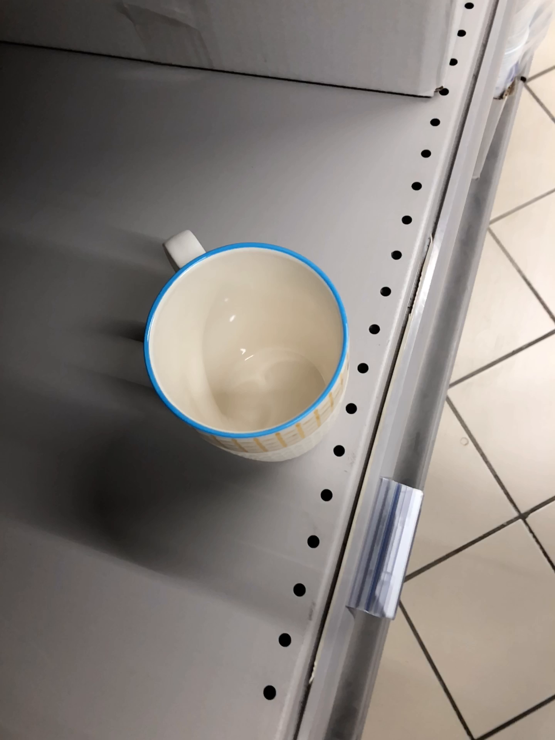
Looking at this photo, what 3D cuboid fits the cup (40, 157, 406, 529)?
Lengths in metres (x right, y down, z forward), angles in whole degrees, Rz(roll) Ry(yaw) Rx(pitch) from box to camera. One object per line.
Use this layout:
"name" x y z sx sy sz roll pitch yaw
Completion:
"cup" -0.020 -0.006 0.293 0.105 0.092 0.118 -37 72 -2
